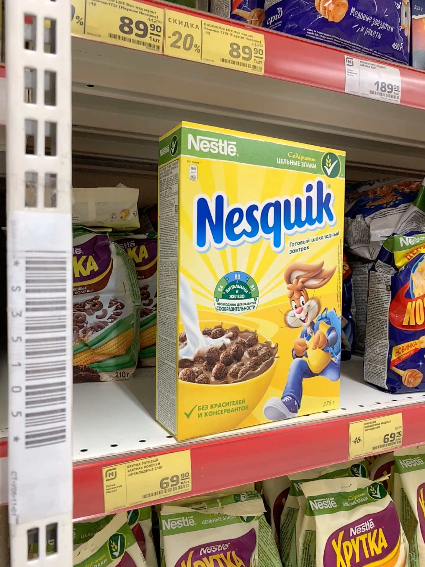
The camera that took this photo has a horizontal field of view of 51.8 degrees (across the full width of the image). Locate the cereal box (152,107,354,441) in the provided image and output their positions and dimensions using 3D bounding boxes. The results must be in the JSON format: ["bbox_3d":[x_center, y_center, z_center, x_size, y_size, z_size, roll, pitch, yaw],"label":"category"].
[{"bbox_3d":[0.043,-0.009,0.425,0.190,0.270,0.060,0,2,-29],"label":"cereal box"}]
